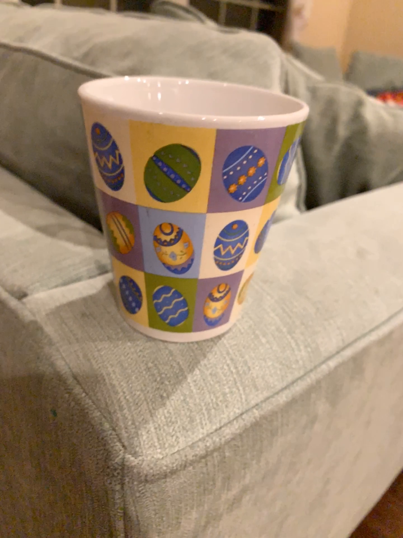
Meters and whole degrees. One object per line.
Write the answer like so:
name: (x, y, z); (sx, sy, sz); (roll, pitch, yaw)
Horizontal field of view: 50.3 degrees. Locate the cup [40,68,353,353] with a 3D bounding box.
cup: (-0.002, -0.039, 0.205); (0.095, 0.087, 0.123); (5, 29, 0)
